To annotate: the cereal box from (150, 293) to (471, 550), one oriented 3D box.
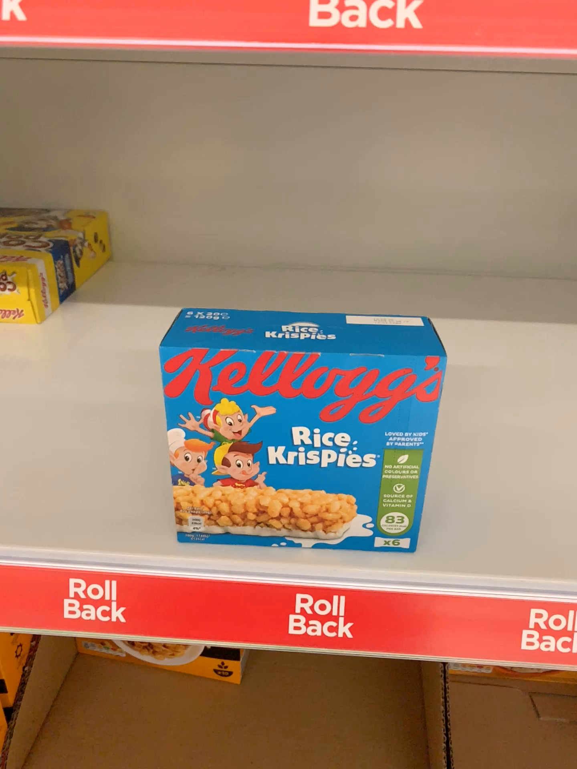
[{"bbox_3d":[0.009,0.022,0.330,0.150,0.129,0.050,2,29,1],"label":"cereal box"}]
